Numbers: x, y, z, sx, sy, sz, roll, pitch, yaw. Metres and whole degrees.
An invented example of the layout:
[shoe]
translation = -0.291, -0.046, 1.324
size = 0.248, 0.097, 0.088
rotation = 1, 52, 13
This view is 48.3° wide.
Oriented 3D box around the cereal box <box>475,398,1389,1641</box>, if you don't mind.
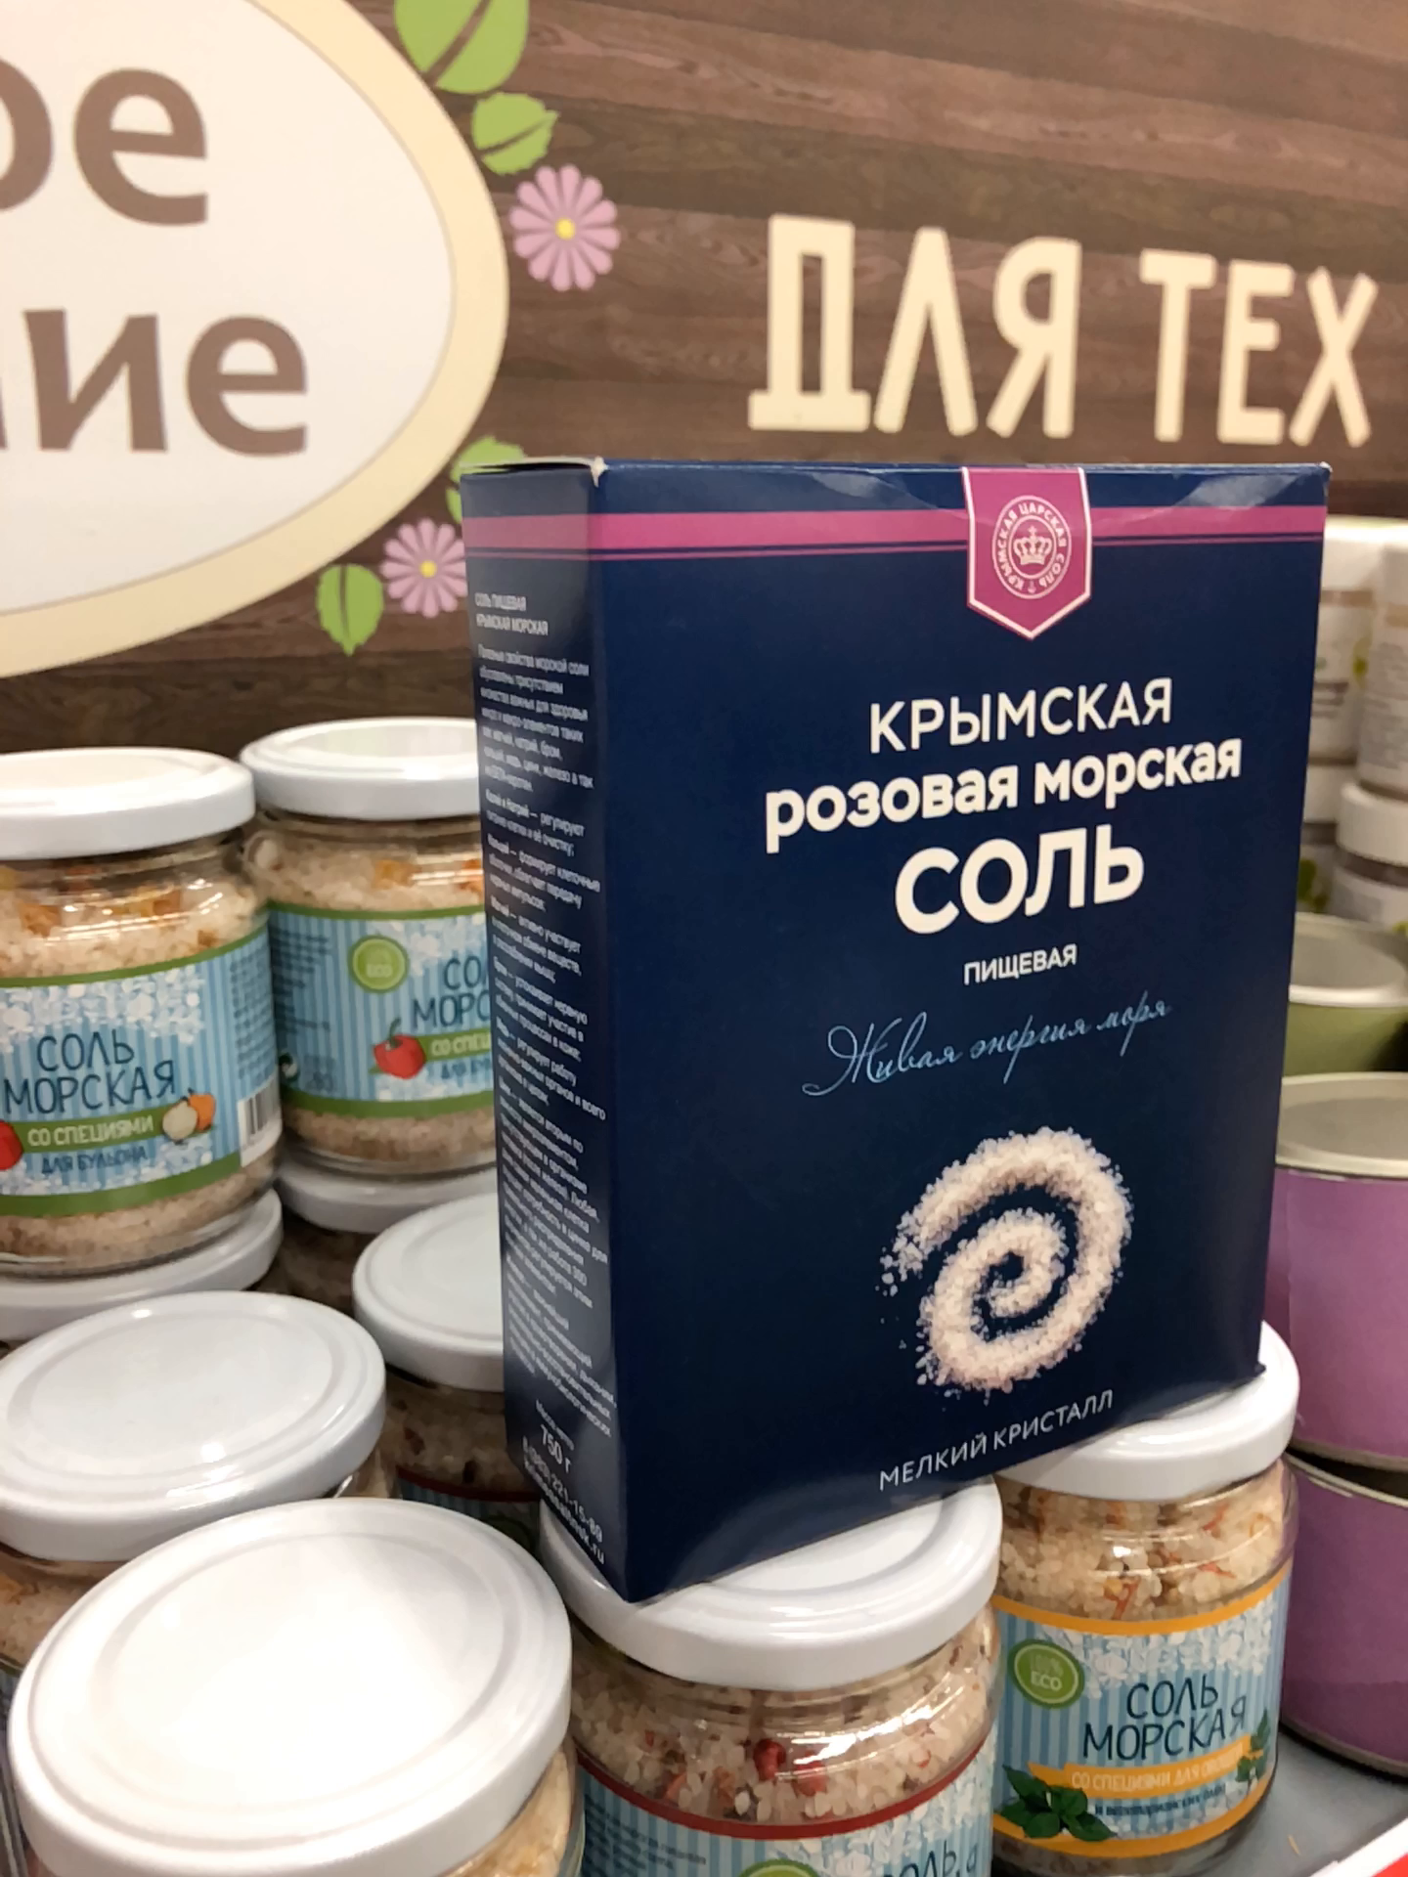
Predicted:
[cereal box]
translation = 0.034, 0.004, 0.226
size = 0.120, 0.149, 0.040
rotation = -8, 16, -28
